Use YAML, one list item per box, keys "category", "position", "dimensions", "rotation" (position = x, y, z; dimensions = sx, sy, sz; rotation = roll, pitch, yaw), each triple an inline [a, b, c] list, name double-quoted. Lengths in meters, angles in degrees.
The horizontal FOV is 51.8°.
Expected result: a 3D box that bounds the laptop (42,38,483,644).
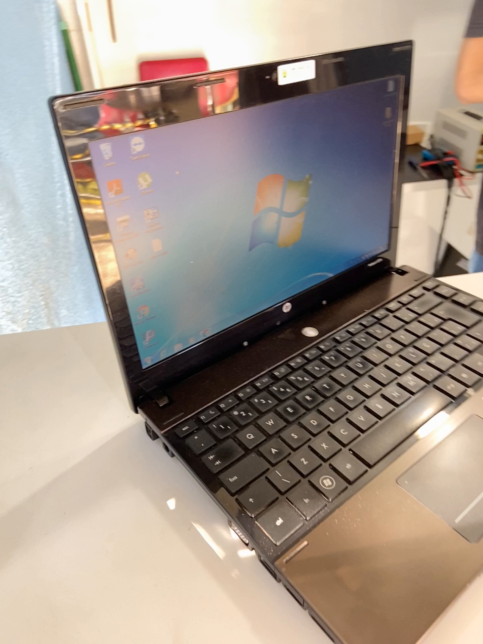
- category: "laptop"
  position: [0.099, -0.045, 0.332]
  dimensions: [0.322, 0.207, 0.260]
  rotation: [-26, 40, -29]
